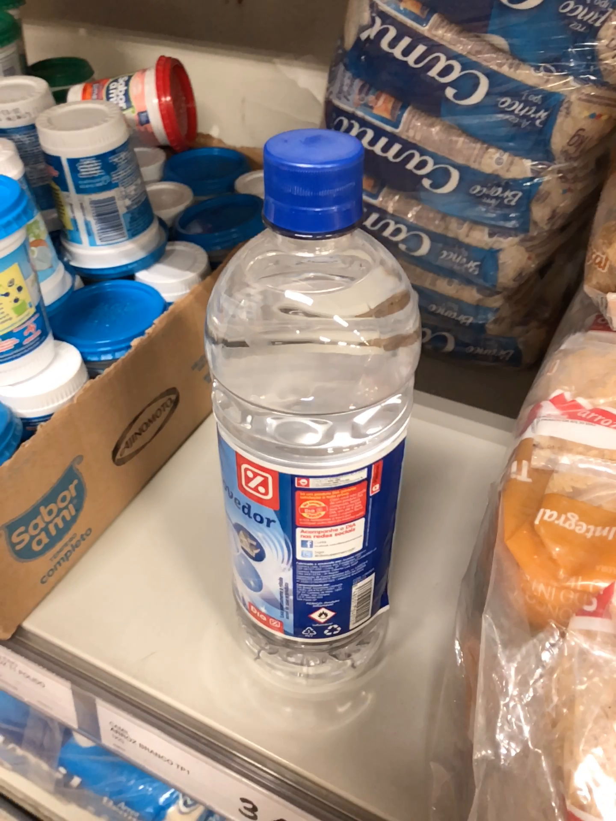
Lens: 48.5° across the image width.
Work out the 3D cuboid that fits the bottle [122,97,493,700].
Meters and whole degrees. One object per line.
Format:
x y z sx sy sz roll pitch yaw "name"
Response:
0.004 0.021 0.283 0.090 0.258 0.081 -3 43 0 "bottle"
